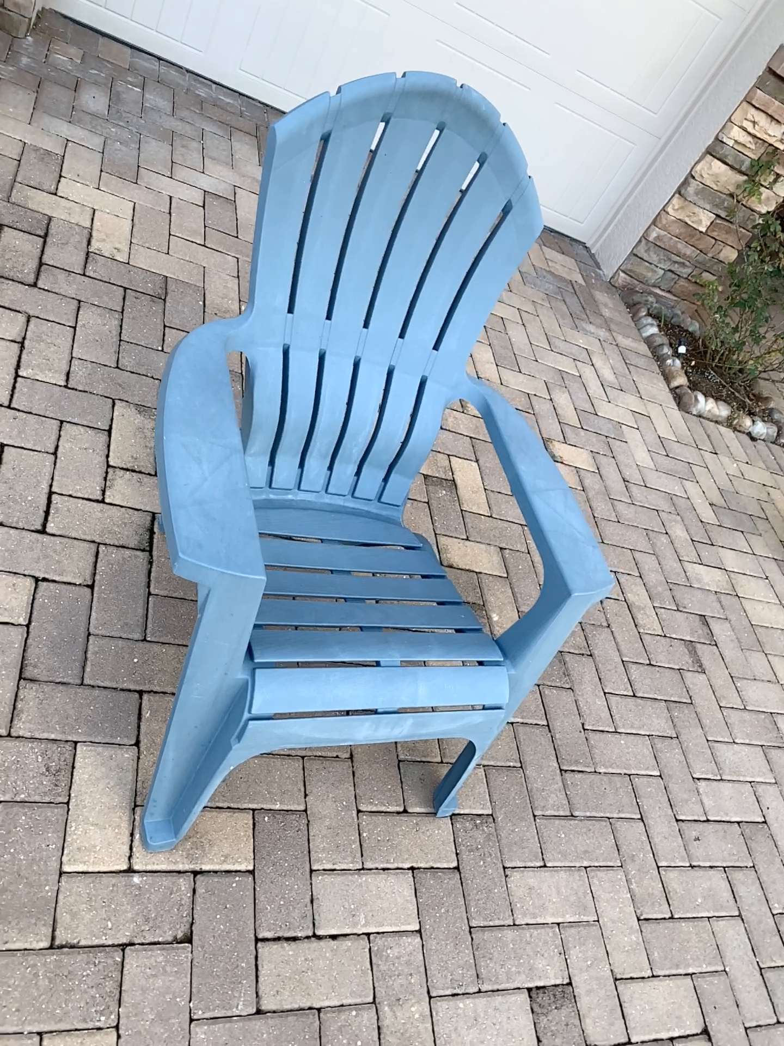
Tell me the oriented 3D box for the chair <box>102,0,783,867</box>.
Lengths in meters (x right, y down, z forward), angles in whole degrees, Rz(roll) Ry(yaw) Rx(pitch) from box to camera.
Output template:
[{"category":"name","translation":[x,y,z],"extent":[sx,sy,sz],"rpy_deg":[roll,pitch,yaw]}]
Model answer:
[{"category":"chair","translation":[0.016,-0.083,1.293],"extent":[0.684,0.985,0.799],"rpy_deg":[7,46,-31]}]
